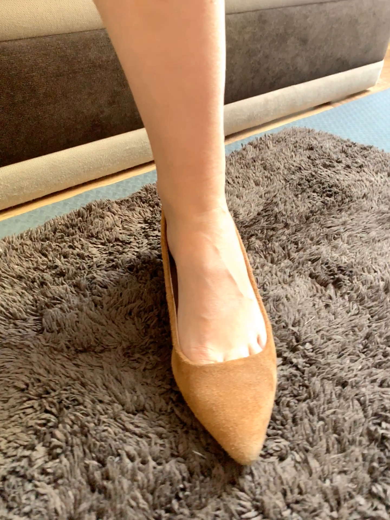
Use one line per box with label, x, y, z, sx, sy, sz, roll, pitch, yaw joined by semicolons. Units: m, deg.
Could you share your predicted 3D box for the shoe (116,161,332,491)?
shoe;-0.004;0.018;0.308;0.090;0.080;0.251;-7;40;-10
